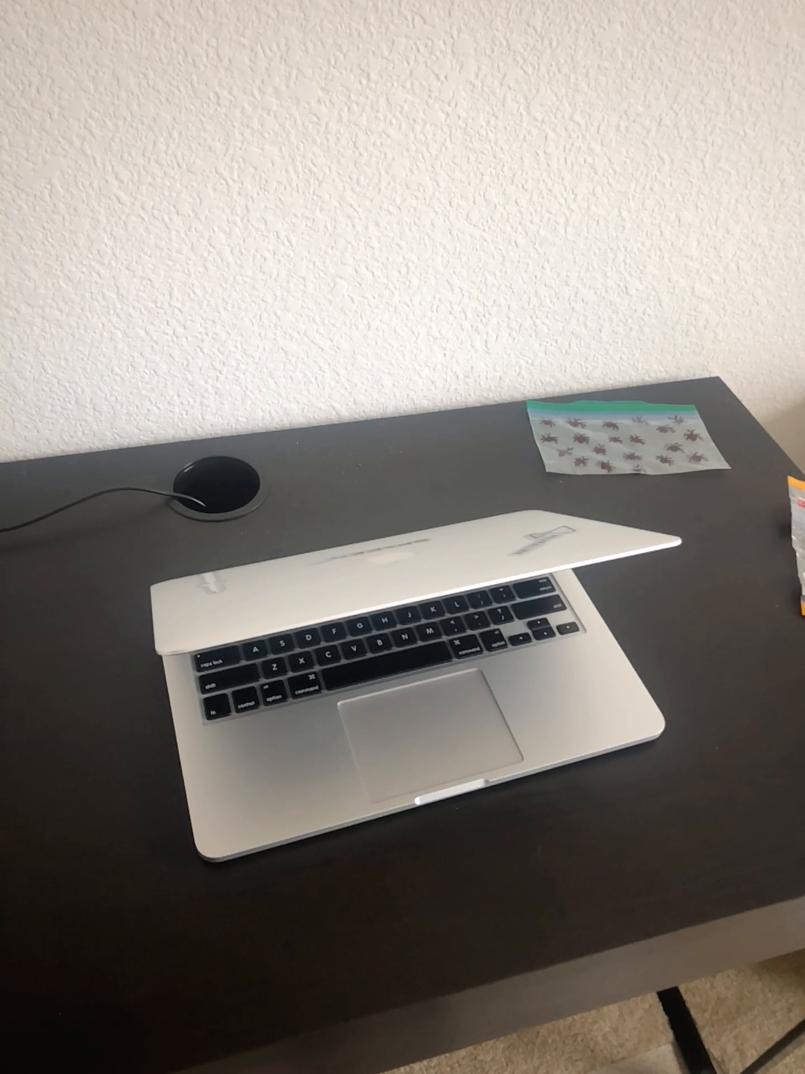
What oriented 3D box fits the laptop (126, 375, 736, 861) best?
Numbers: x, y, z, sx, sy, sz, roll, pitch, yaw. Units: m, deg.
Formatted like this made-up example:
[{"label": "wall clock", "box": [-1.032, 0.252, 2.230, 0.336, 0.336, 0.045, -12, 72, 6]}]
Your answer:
[{"label": "laptop", "box": [0.001, 0.033, 0.575, 0.309, 0.133, 0.225, -11, 46, -15]}]
